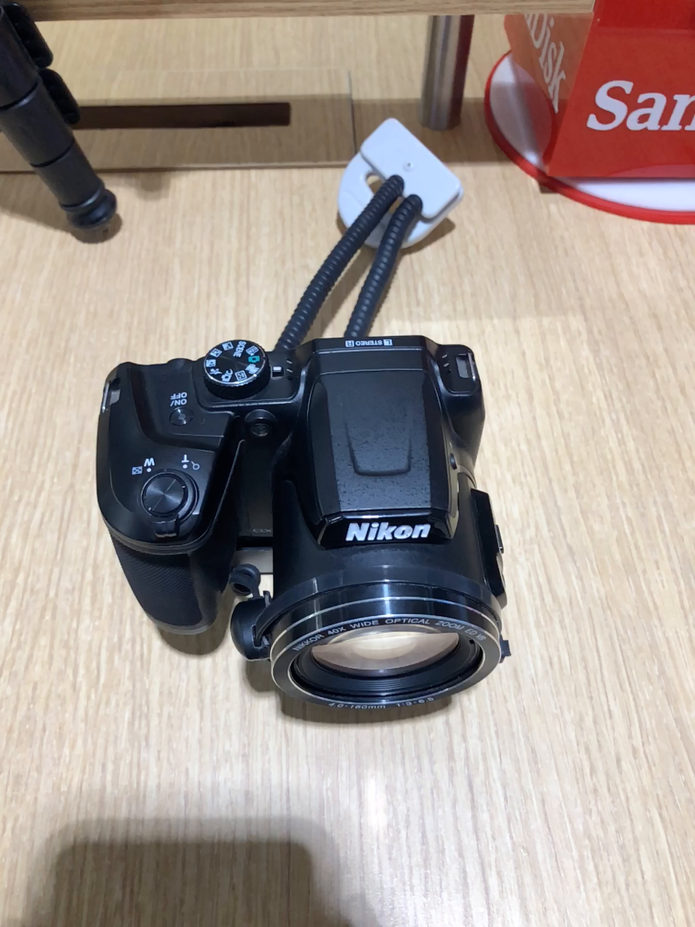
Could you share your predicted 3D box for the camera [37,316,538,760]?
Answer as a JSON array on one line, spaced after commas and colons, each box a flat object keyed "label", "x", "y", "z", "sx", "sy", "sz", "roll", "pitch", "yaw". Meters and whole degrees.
[{"label": "camera", "x": -0.016, "y": 0.021, "z": 0.215, "sx": 0.103, "sy": 0.070, "sz": 0.093, "roll": -4, "pitch": 56, "yaw": -3}]
